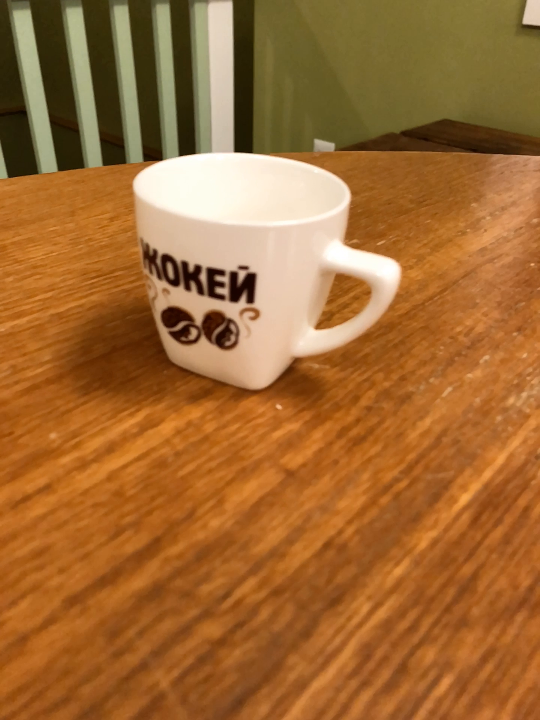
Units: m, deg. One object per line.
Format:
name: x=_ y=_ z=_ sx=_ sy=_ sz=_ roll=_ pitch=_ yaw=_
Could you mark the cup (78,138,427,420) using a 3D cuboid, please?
cup: x=-0.003 y=-0.029 z=0.176 sx=0.075 sy=0.047 sz=0.060 roll=18 pitch=37 yaw=22
